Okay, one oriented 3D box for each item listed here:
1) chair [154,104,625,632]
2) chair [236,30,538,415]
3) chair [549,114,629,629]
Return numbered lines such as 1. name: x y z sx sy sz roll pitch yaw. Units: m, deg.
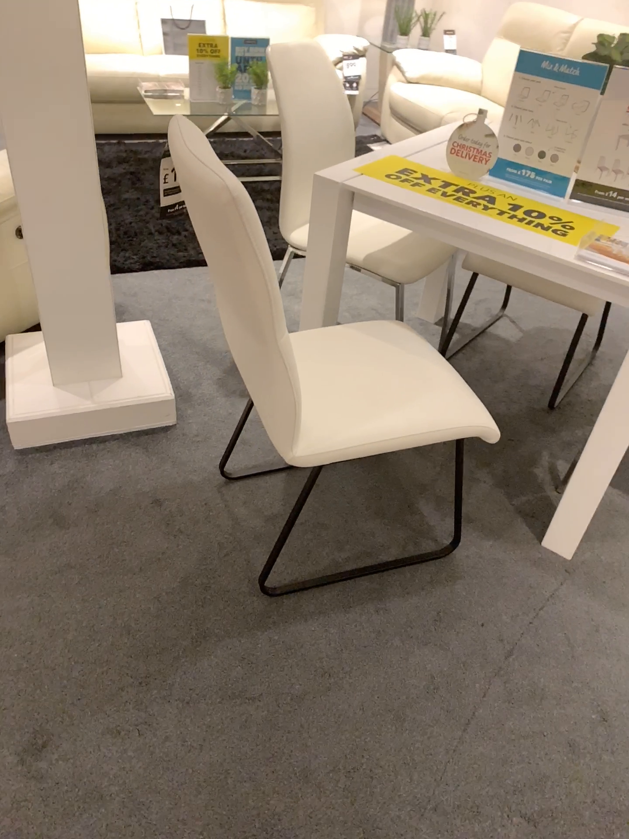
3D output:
1. chair: 0.053 -0.117 1.357 0.631 0.881 0.545 -9 41 -19
2. chair: 0.176 -0.622 2.005 0.642 0.901 0.524 25 42 21
3. chair: 1.076 -0.129 1.489 0.602 0.881 0.553 31 44 27
